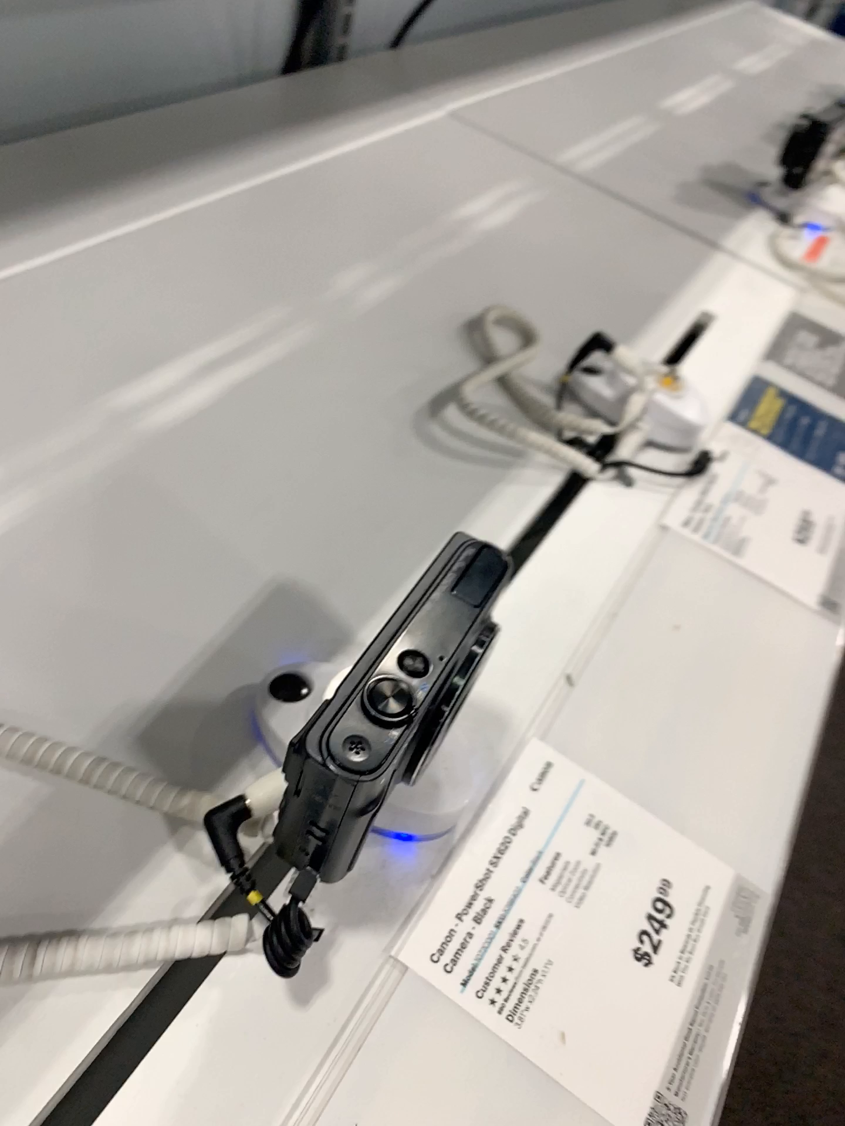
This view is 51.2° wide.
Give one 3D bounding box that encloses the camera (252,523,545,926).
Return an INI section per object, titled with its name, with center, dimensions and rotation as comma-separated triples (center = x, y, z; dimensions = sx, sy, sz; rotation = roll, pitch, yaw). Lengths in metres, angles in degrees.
[camera]
center = -0.004, 0.040, 0.246
dimensions = 0.031, 0.050, 0.100
rotation = 27, 43, 9
